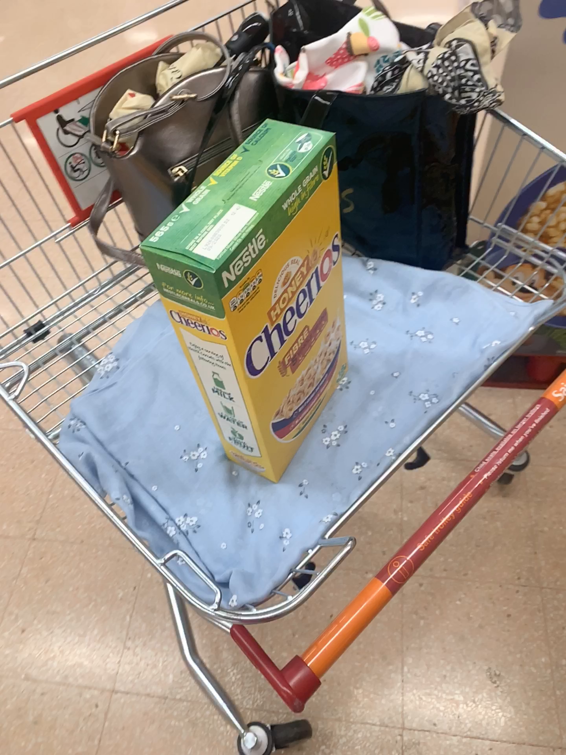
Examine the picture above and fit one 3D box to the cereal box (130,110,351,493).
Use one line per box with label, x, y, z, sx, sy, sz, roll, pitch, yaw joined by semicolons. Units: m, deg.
cereal box;-0.012;-0.058;0.617;0.080;0.347;0.211;21;58;22
